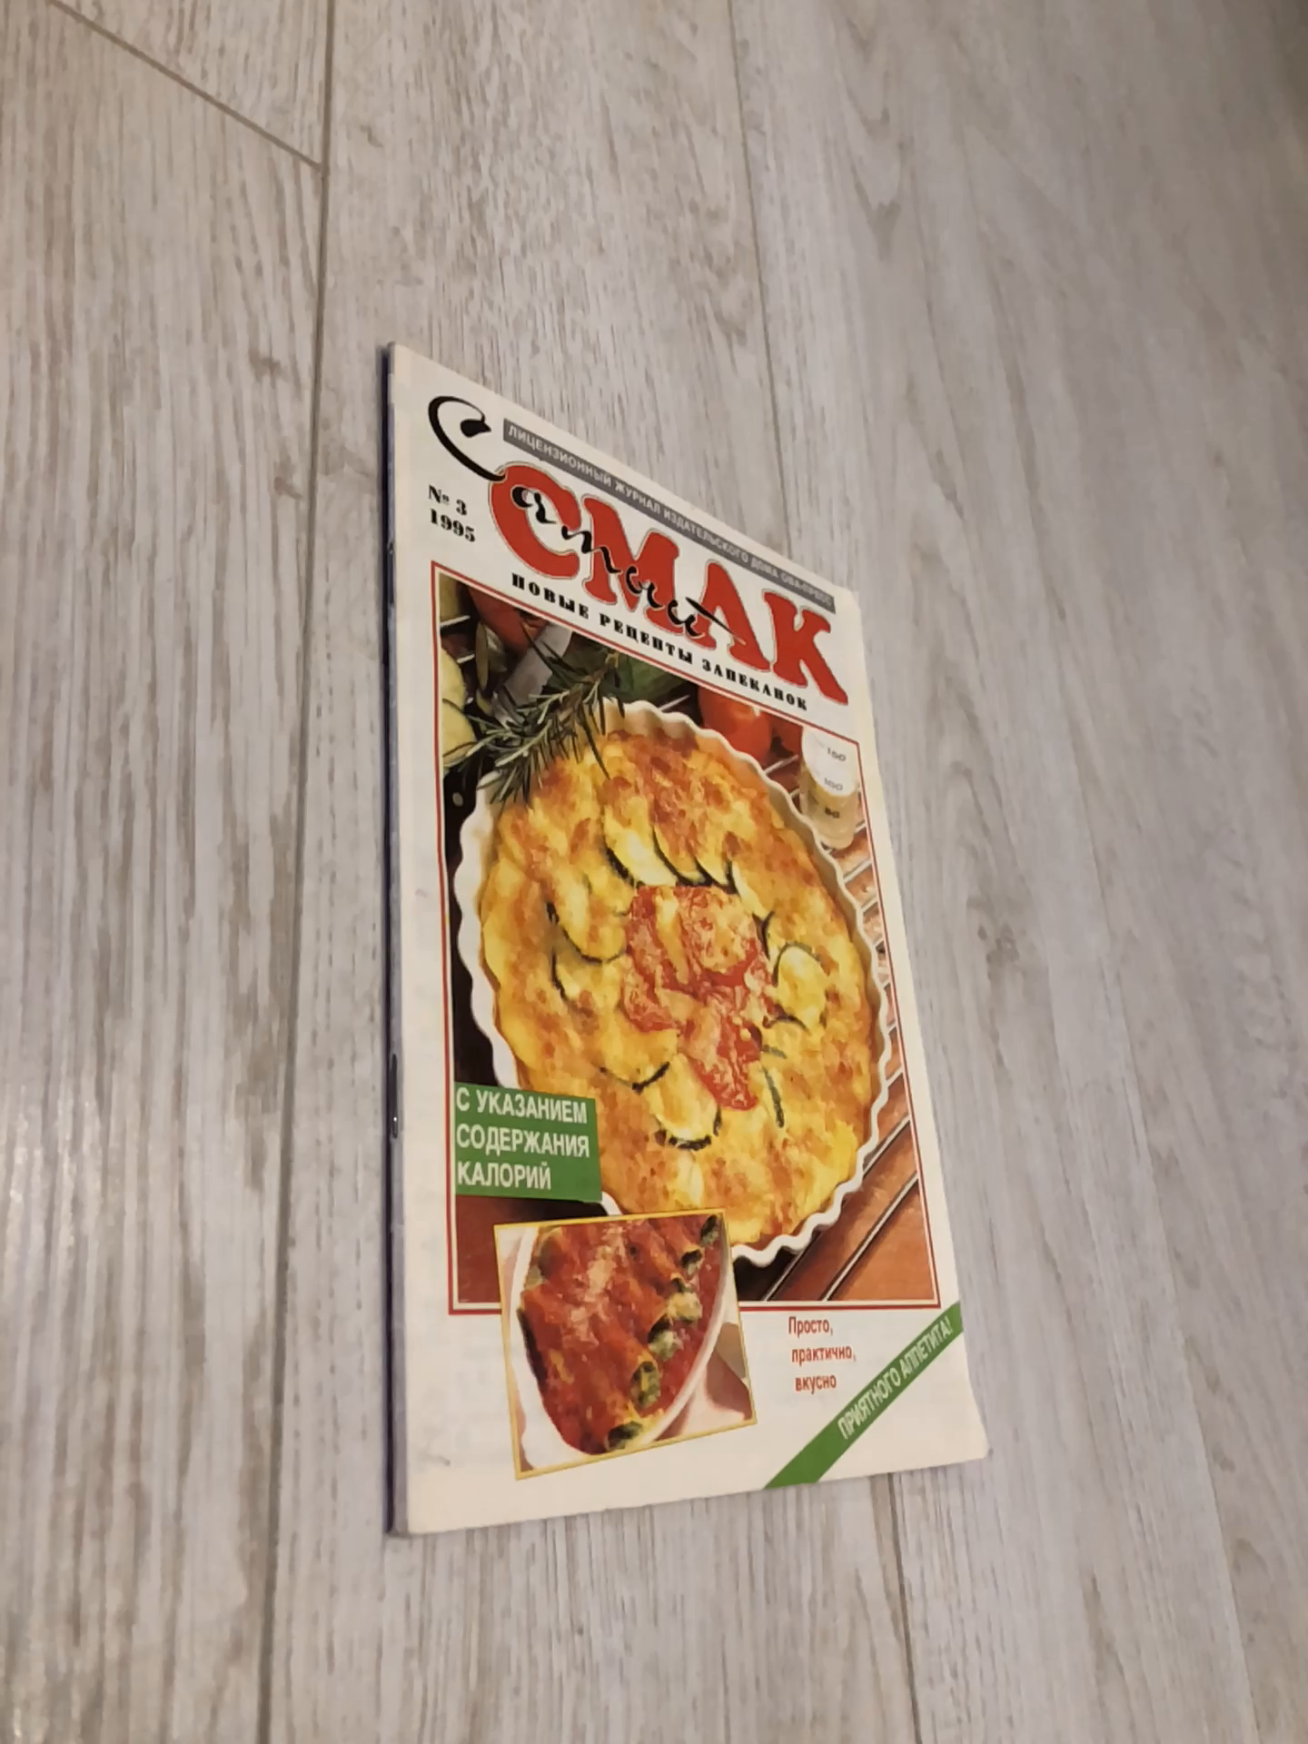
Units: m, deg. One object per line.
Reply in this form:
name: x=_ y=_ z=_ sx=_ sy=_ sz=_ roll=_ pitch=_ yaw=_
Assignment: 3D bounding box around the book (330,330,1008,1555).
book: x=0.006 y=0.015 z=0.318 sx=0.166 sy=0.020 sz=0.230 roll=16 pitch=60 yaw=-43
